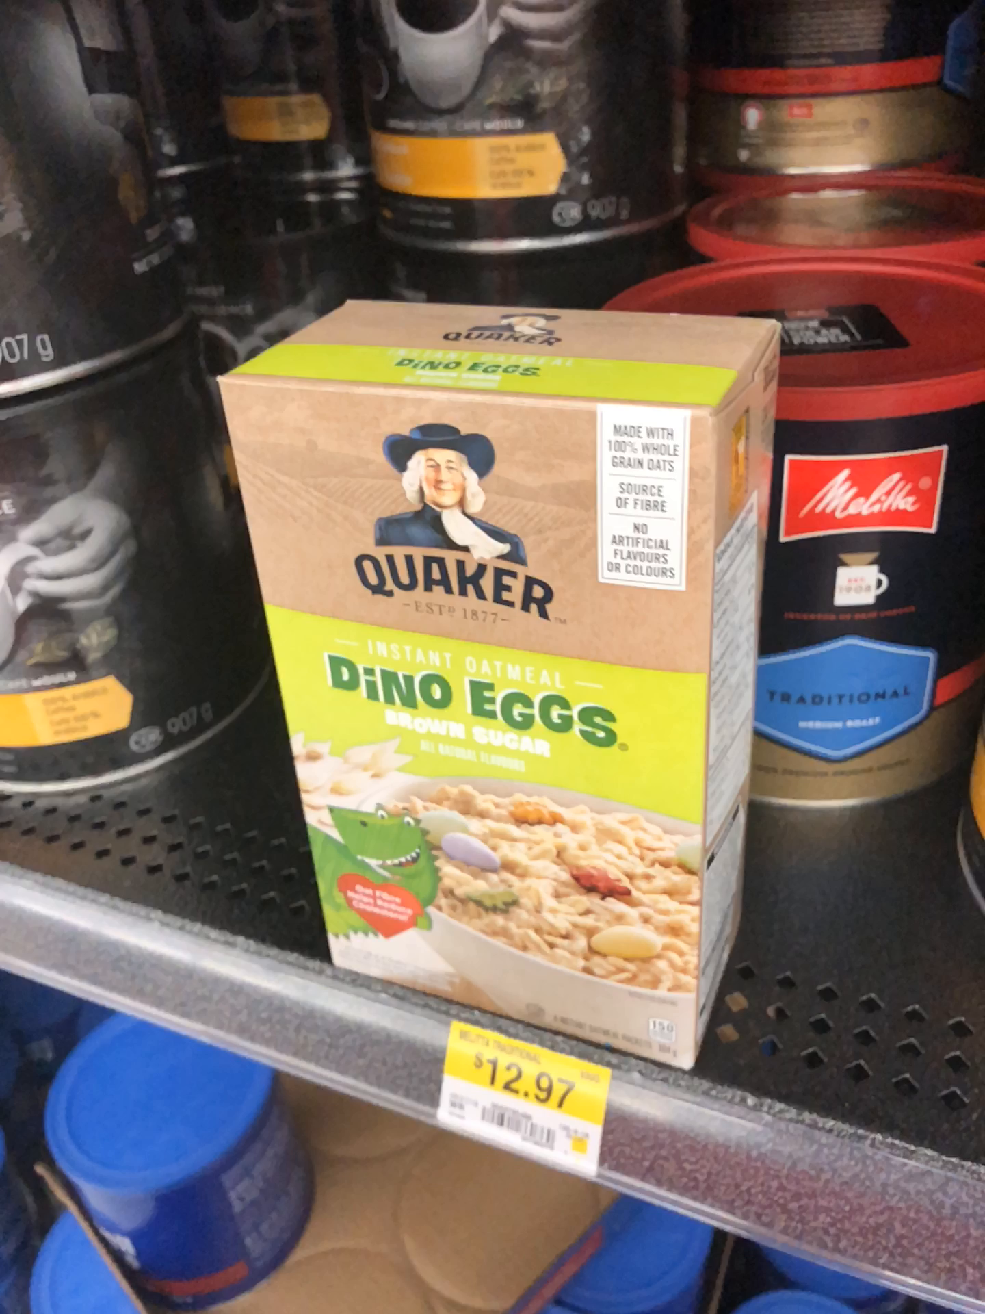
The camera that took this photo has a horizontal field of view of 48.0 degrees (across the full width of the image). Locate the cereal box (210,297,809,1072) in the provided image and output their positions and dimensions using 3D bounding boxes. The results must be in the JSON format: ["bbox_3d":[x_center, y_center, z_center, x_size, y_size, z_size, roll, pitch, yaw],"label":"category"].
[{"bbox_3d":[0.012,0.008,0.322,0.130,0.199,0.070,9,33,22],"label":"cereal box"}]
